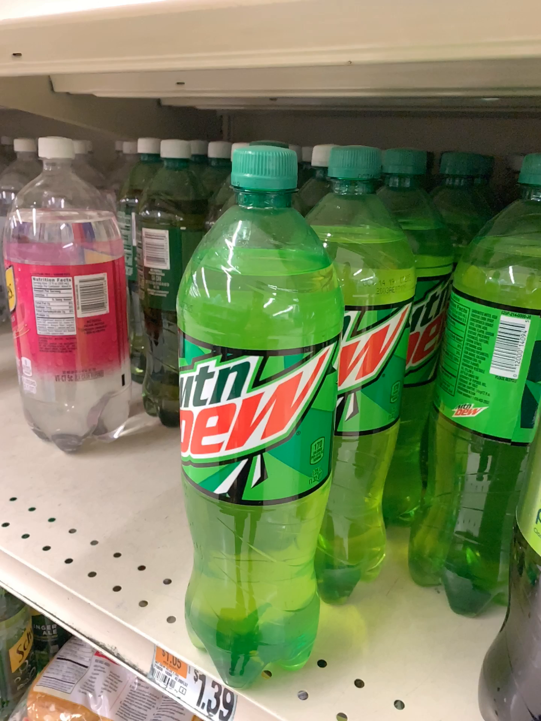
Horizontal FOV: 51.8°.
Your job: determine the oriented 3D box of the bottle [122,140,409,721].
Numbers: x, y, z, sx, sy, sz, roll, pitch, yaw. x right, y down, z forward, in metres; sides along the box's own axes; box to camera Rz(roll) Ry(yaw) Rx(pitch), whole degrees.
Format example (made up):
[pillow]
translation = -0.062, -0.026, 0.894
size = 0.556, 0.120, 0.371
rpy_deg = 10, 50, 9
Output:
[bottle]
translation = -0.006, 0.042, 0.311
size = 0.100, 0.302, 0.090
rpy_deg = 16, 24, 32
